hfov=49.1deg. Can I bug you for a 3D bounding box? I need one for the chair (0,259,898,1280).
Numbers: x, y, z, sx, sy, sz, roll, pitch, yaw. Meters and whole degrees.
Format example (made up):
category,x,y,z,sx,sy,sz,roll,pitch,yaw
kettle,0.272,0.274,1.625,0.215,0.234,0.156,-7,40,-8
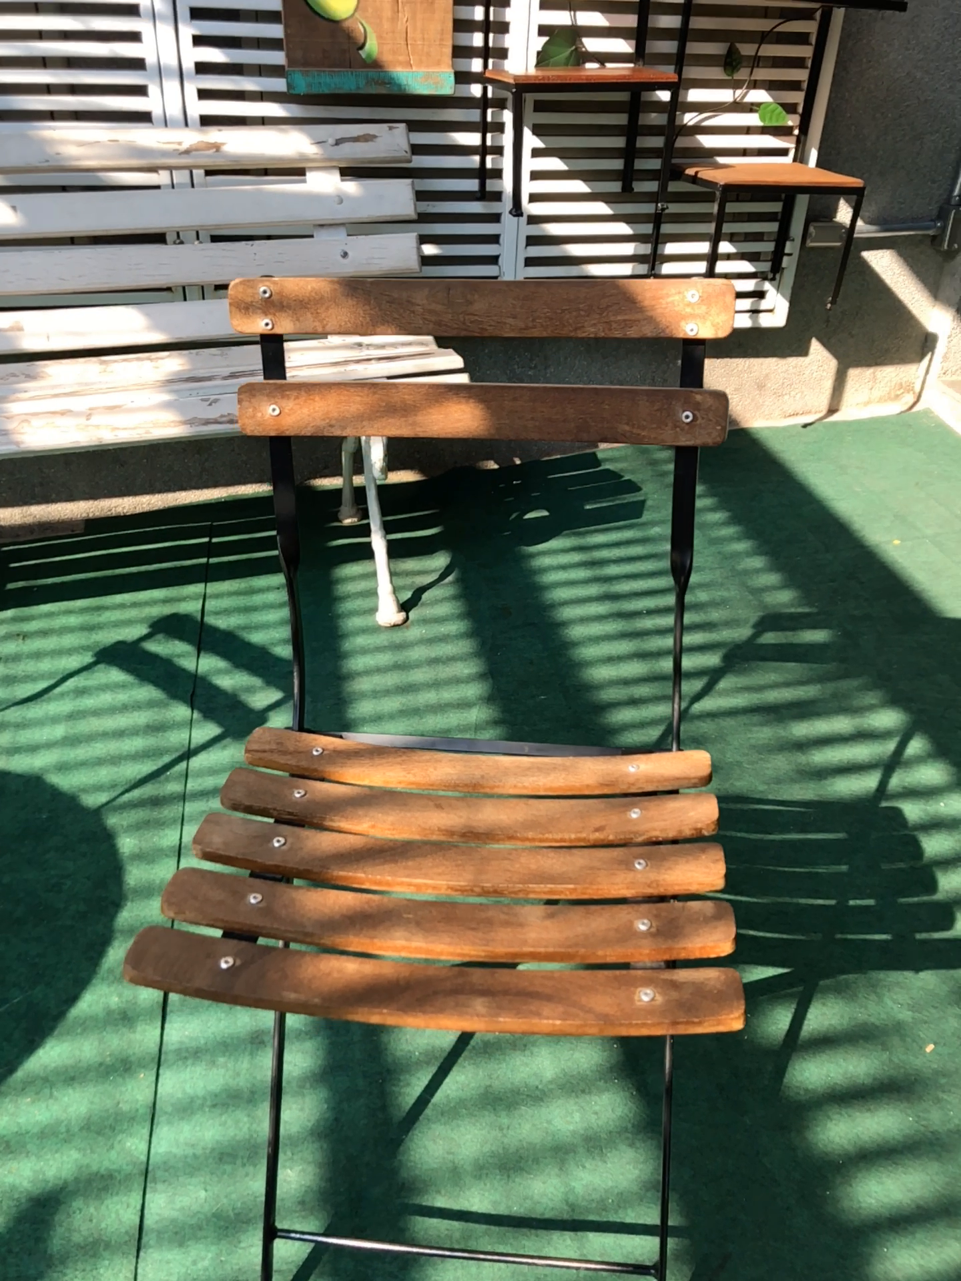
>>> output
category,x,y,z,sx,sy,sz,roll,pitch,yaw
chair,-0.020,0.123,0.720,0.390,0.655,0.403,2,31,6
